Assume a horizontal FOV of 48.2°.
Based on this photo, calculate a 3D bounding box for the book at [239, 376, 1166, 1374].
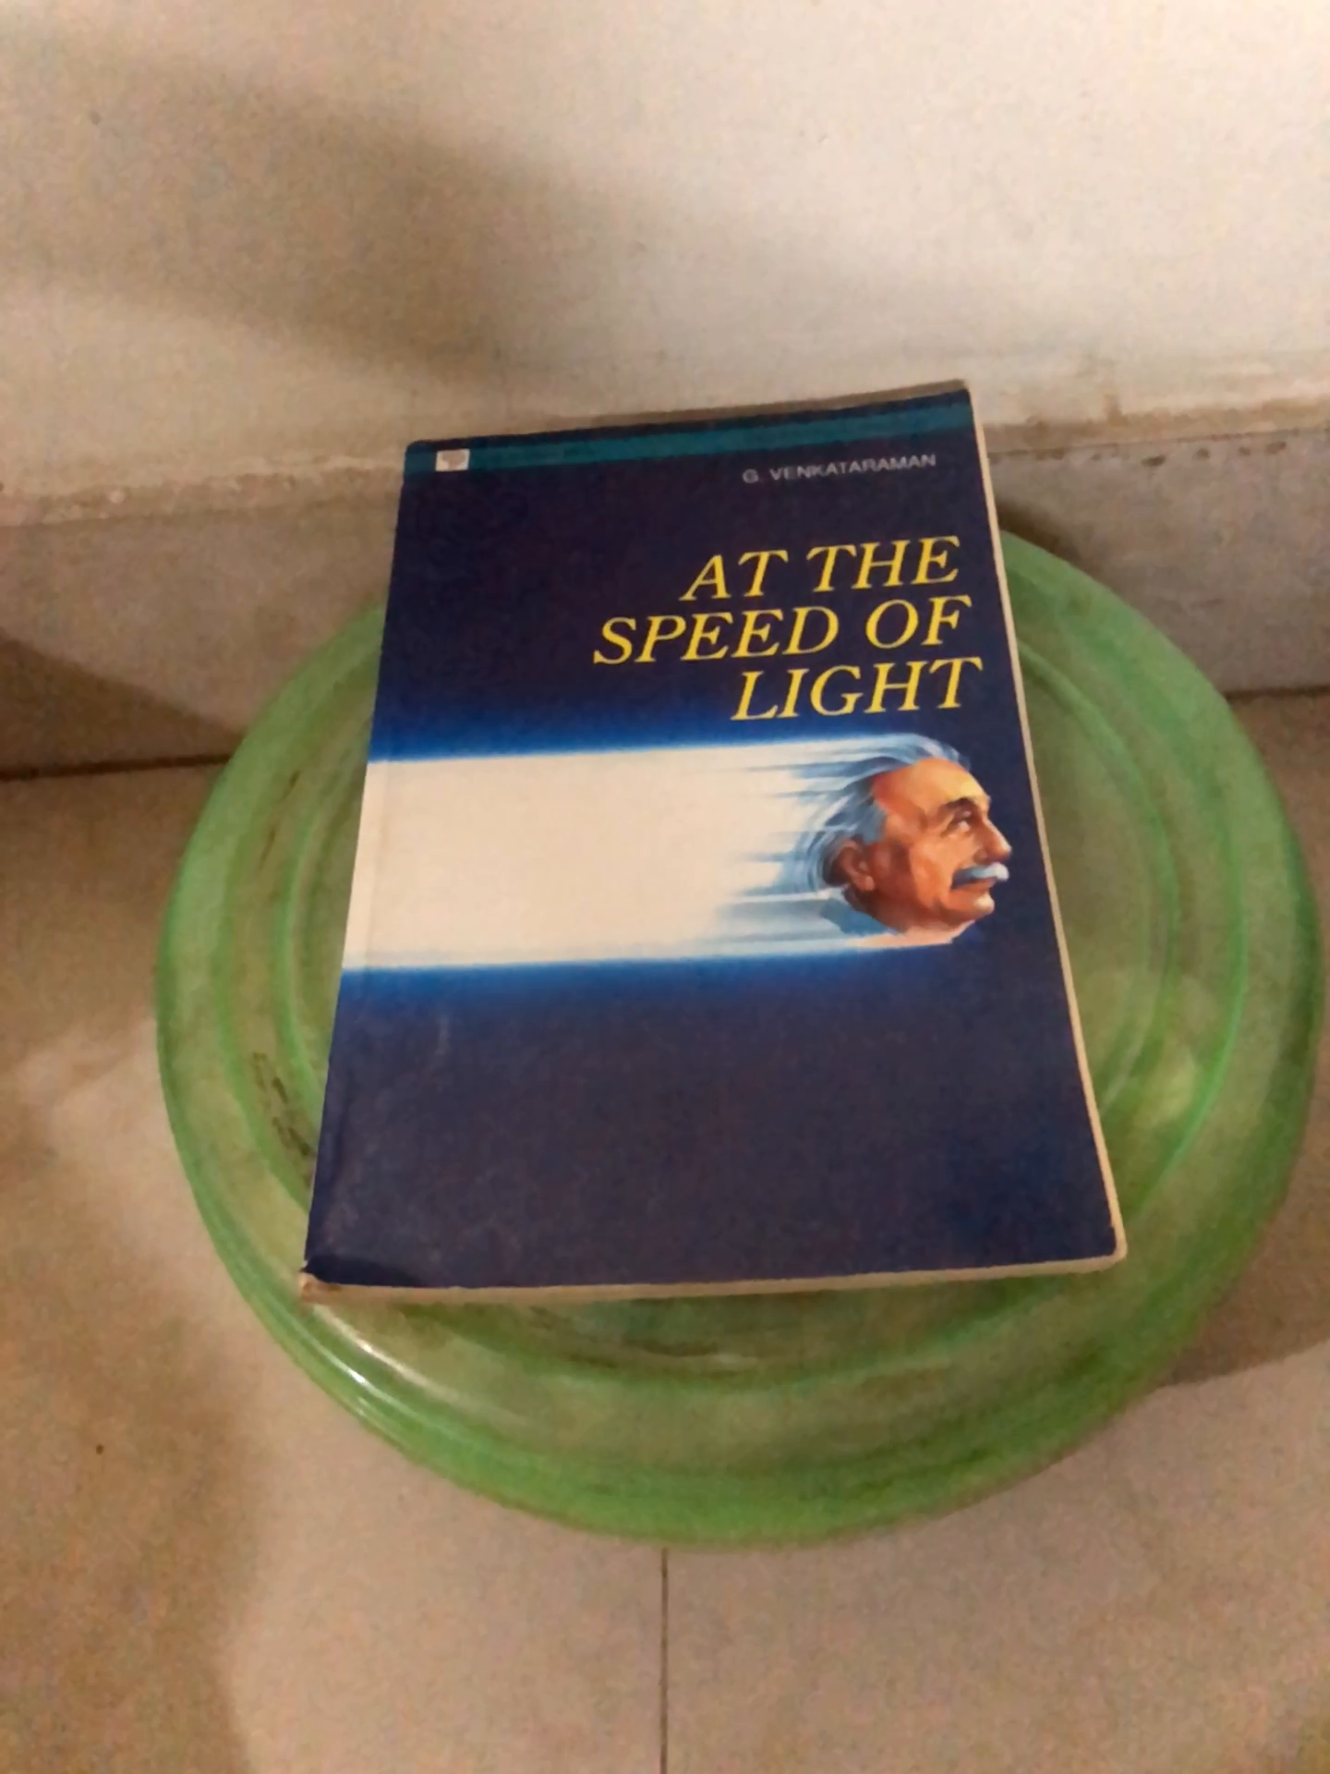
[{"bbox_3d":[0.004,-0.020,0.313,0.150,0.020,0.231,-3,56,4],"label":"book"}]
